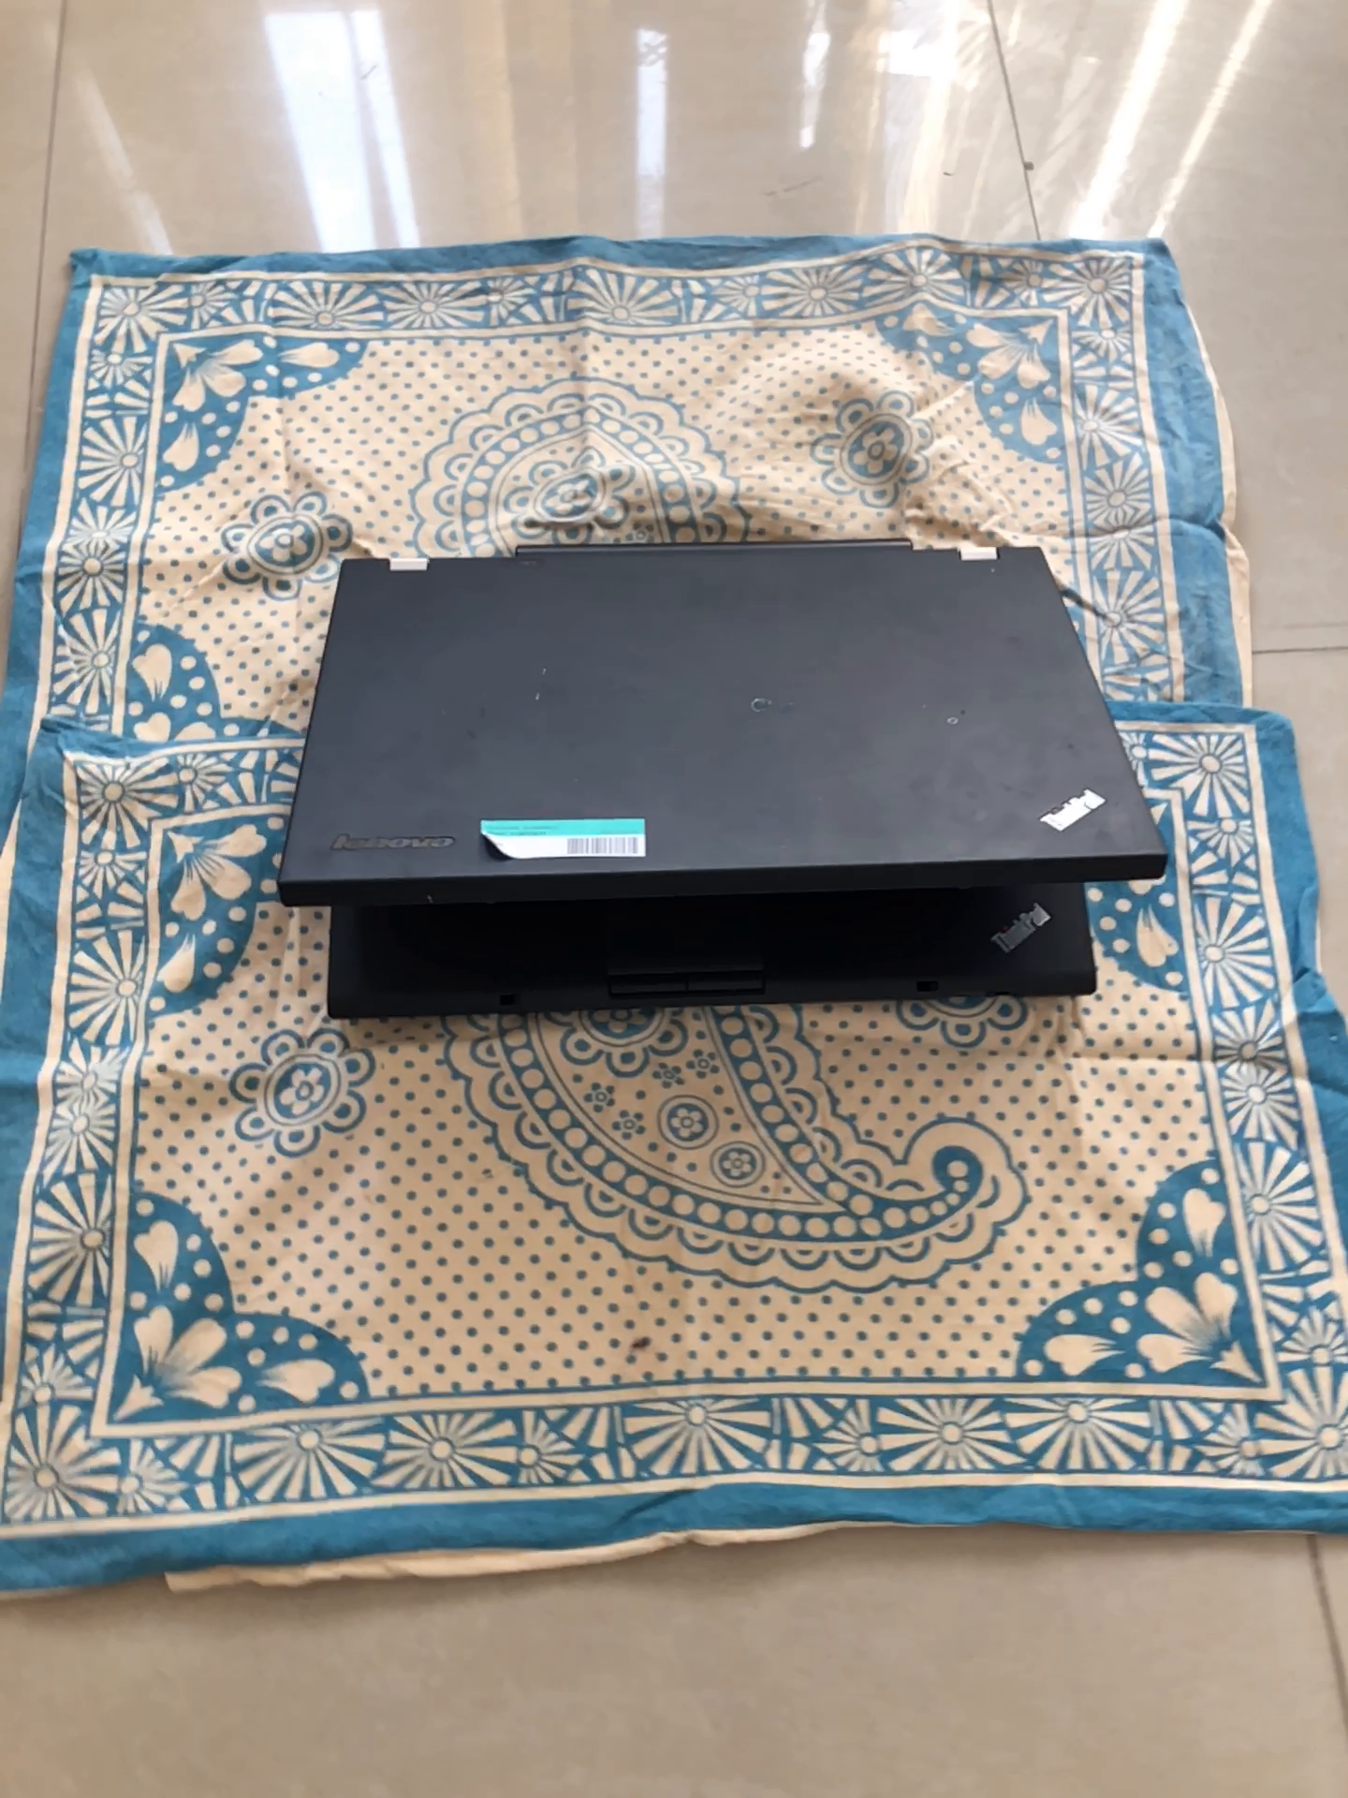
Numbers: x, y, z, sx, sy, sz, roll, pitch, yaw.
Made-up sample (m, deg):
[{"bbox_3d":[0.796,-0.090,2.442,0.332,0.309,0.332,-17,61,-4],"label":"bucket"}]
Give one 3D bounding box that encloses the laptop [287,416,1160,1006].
[{"bbox_3d":[0.013,-0.084,0.698,0.347,0.125,0.241,-1,67,3],"label":"laptop"}]
